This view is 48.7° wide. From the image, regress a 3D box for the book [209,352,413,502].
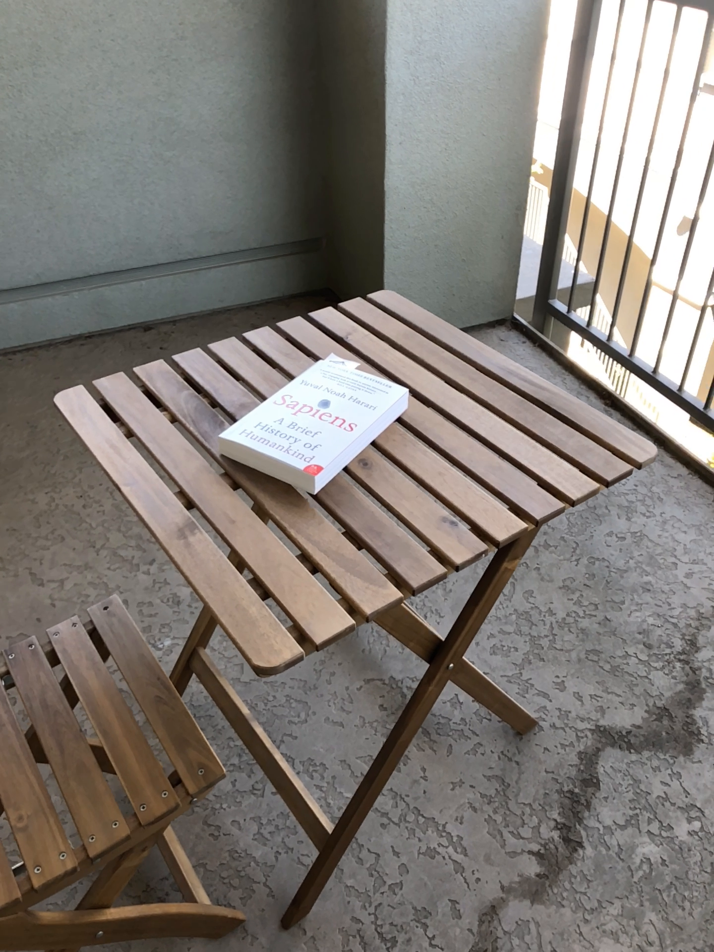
[{"bbox_3d":[-0.056,-0.075,1.059,0.160,0.040,0.241,22,44,26],"label":"book"}]
